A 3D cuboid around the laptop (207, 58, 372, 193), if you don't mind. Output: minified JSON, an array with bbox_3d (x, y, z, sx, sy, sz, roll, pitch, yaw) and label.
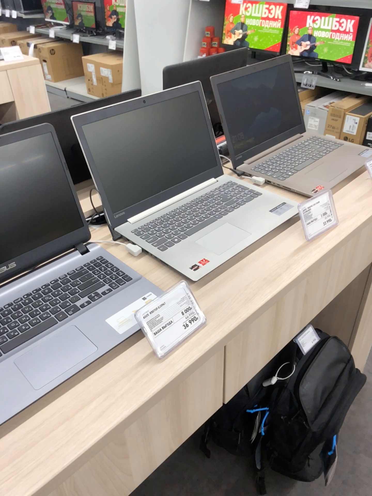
[{"bbox_3d":[0.315,-0.355,1.114,0.327,0.222,0.358,27,44,34],"label":"laptop"}]

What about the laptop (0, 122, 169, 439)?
[{"bbox_3d":[-0.250,0.000,0.623,0.327,0.232,0.319,-30,44,-34],"label":"laptop"}]

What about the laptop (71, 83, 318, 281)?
[{"bbox_3d":[0.022,-0.176,0.878,0.336,0.220,0.366,29,45,36],"label":"laptop"}]
